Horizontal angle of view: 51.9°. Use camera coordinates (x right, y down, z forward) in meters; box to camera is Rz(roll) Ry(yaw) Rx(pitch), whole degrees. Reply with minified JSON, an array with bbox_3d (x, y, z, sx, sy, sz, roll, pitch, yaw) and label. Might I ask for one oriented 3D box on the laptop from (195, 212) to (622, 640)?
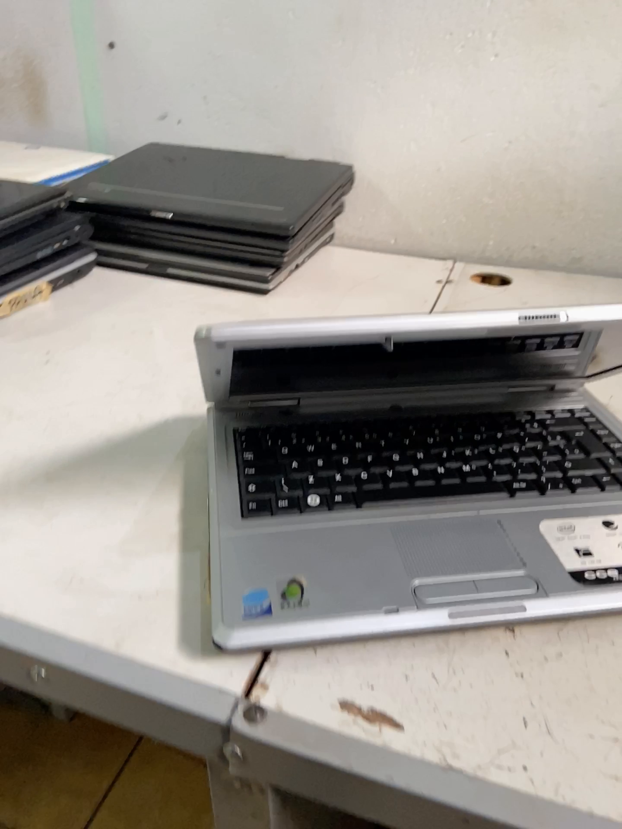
[{"bbox_3d":[0.100,-0.022,0.418,0.335,0.153,0.243,-4,31,-8],"label":"laptop"}]
